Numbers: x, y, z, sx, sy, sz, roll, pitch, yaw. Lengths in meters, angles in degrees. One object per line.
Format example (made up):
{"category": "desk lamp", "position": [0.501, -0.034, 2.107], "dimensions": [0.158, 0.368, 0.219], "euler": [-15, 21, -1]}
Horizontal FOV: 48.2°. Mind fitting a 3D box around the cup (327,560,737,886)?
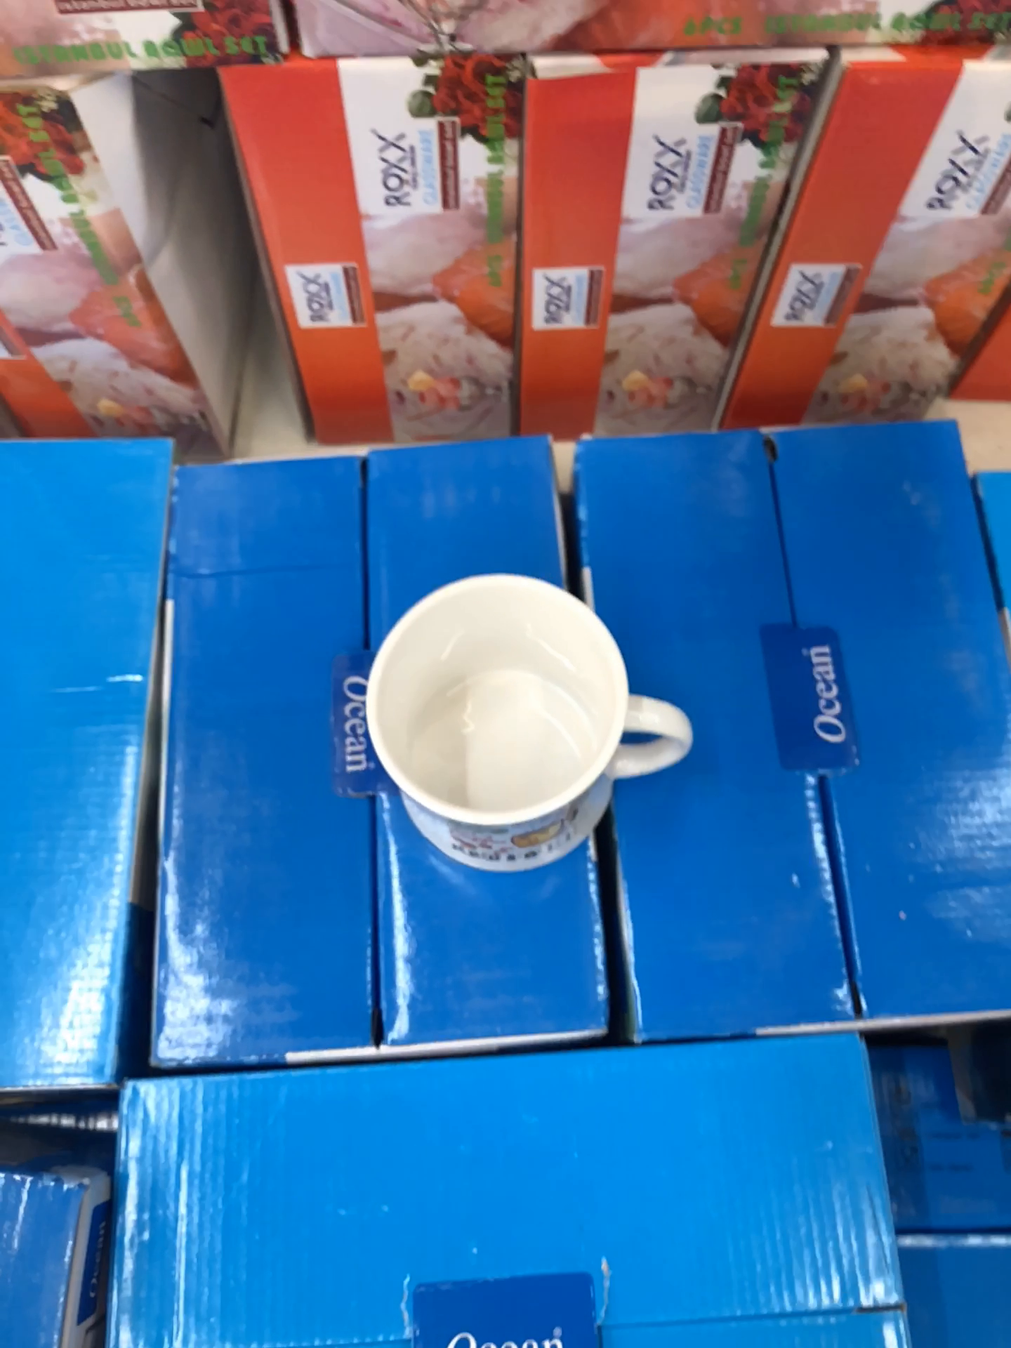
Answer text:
{"category": "cup", "position": [0.005, 0.017, 0.320], "dimensions": [0.100, 0.070, 0.070], "euler": [-3, 70, -2]}
